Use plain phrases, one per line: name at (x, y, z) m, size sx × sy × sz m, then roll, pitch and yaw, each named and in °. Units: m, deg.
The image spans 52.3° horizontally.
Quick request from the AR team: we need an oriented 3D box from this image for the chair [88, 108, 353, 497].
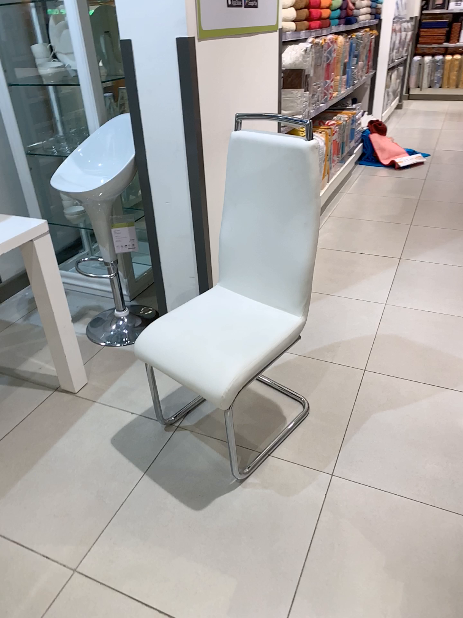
chair at (-0.002, -0.041, 1.510) m, size 0.481 × 1.025 × 0.521 m, roll 23°, pitch 39°, yaw 37°
